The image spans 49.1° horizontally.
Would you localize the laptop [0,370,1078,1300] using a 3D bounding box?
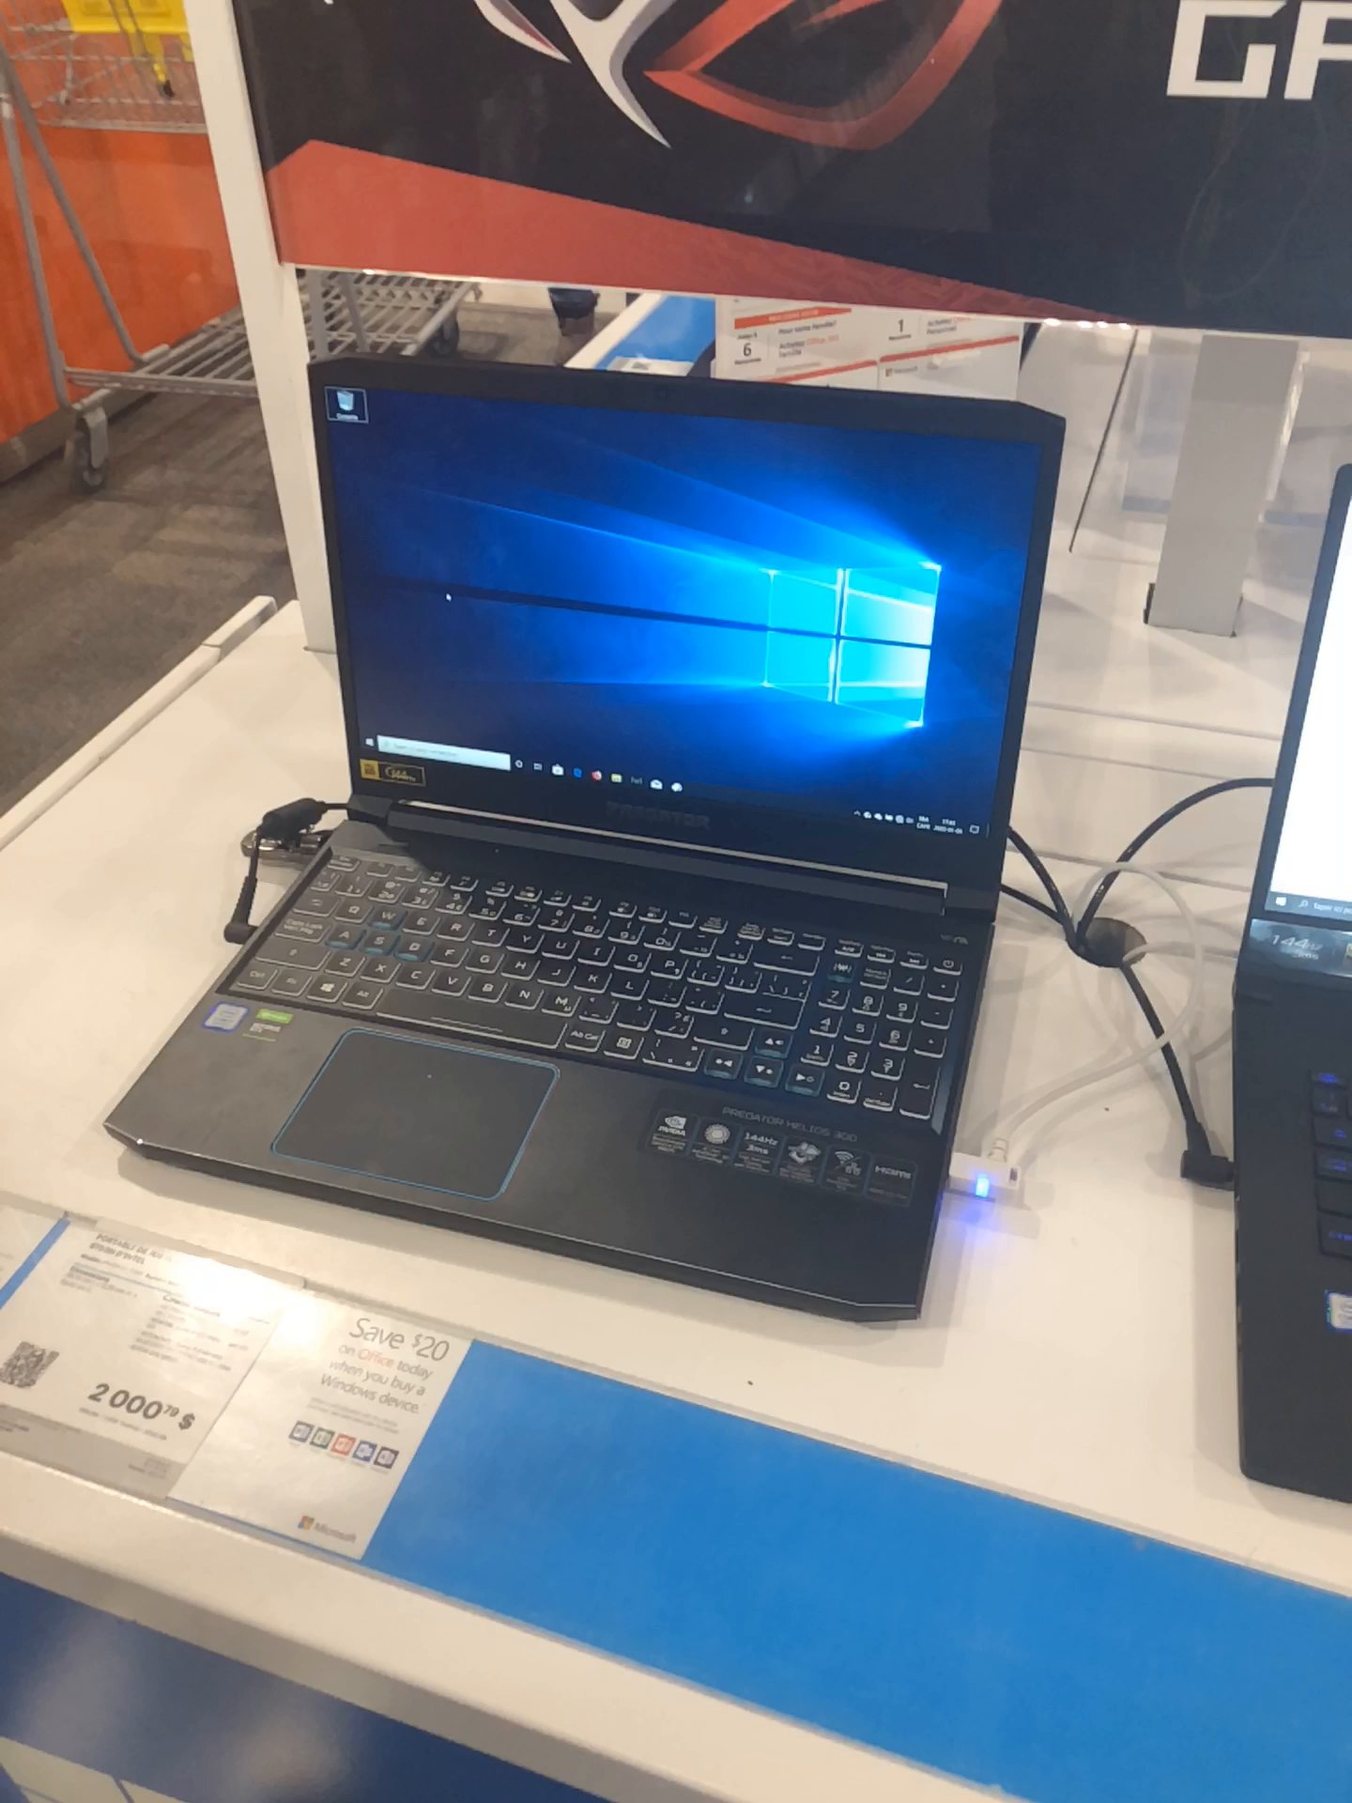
[{"bbox_3d":[-0.039,-0.051,0.628,0.348,0.230,0.274,9,41,15],"label":"laptop"}]
